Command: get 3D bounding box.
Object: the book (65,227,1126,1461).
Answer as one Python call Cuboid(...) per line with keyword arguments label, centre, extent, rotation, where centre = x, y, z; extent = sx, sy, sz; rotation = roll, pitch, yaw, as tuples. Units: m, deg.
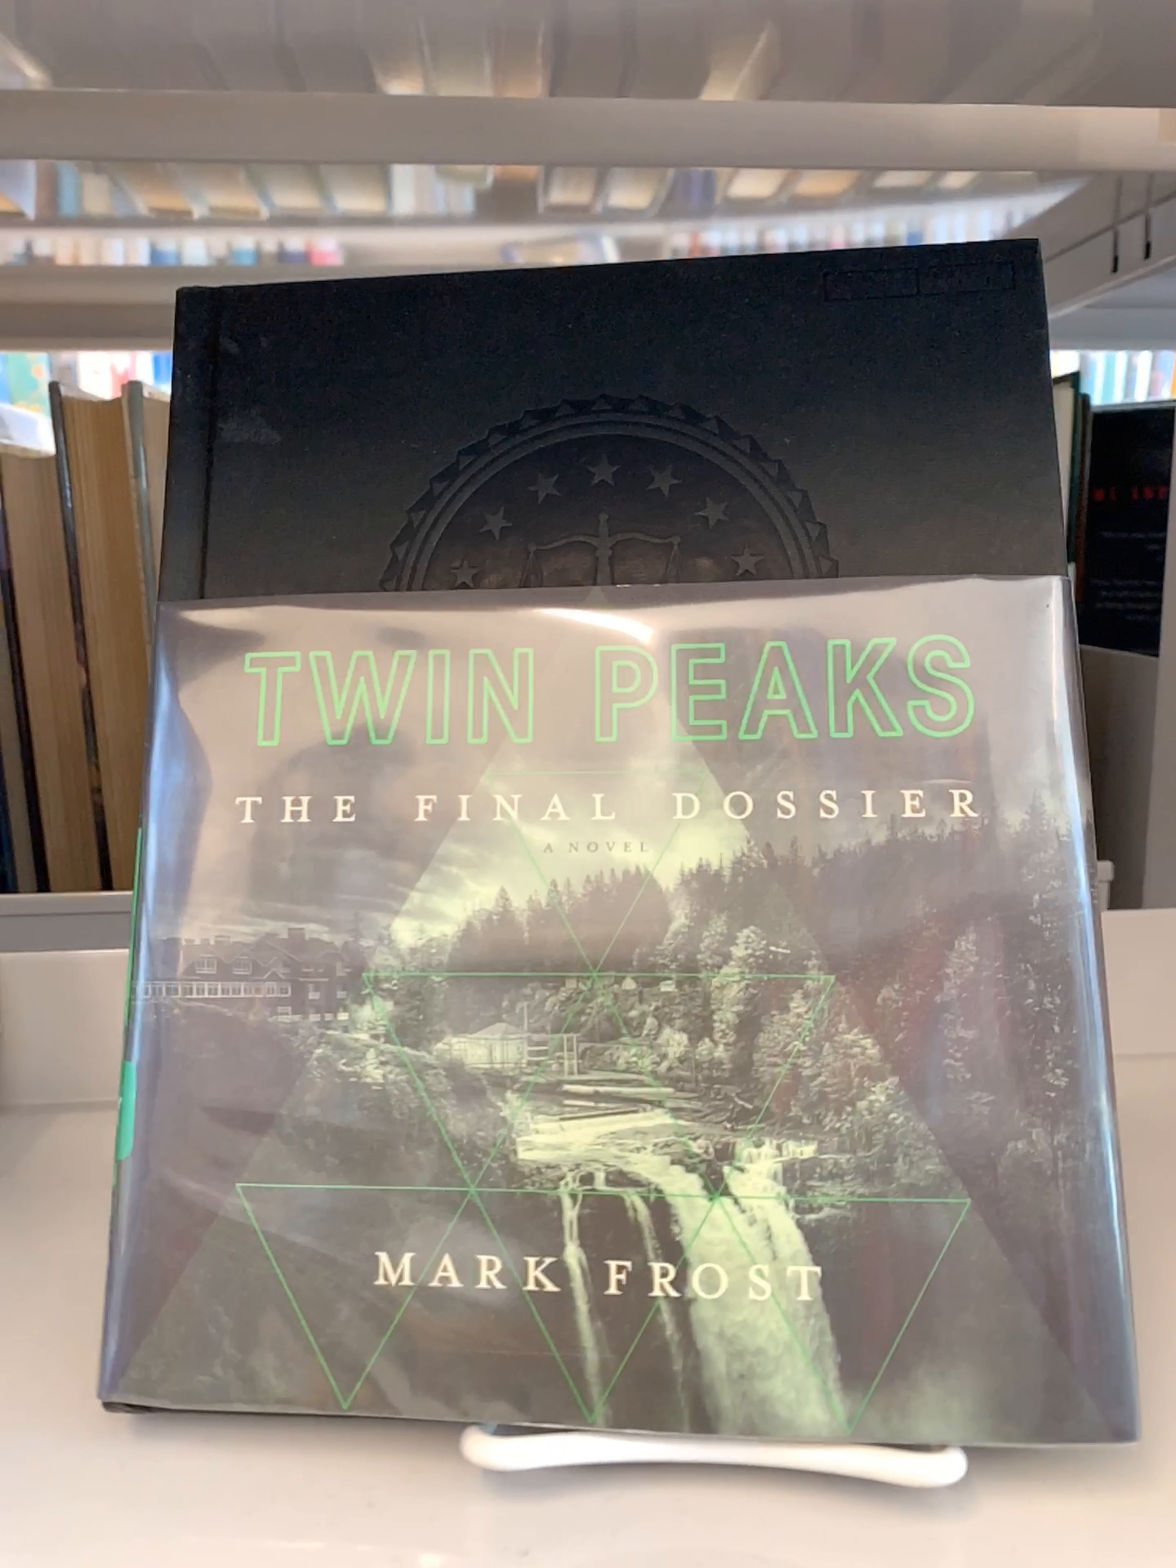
Cuboid(label="book", centre=(-0.001, 0.004, 0.244), extent=(0.190, 0.228, 0.020), rotation=(0, -9, 6))
